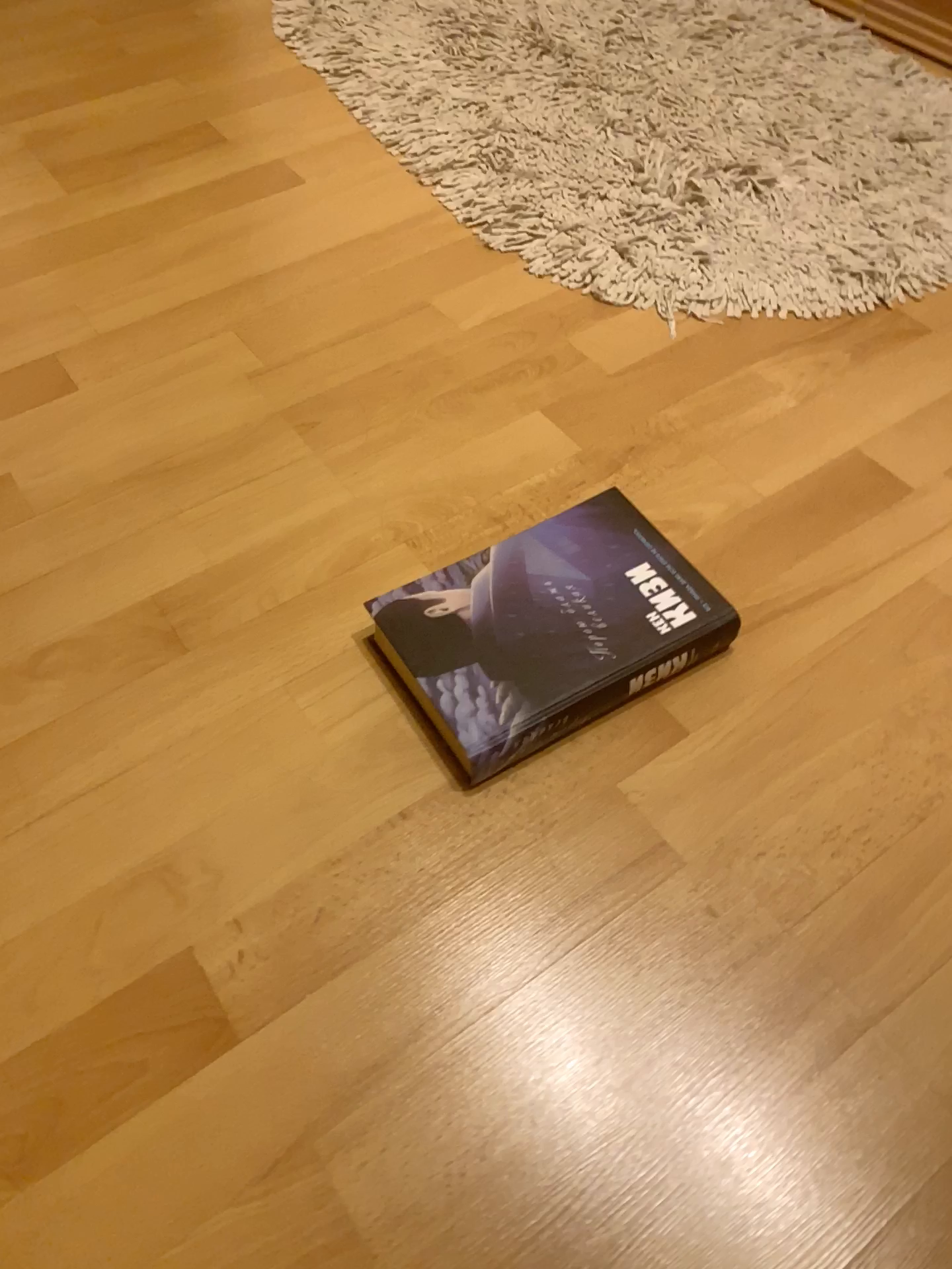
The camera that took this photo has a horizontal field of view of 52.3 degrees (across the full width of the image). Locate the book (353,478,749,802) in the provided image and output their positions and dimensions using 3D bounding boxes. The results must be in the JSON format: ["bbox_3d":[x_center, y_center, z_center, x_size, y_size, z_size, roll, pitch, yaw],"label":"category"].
[{"bbox_3d":[0.050,-0.005,0.679,0.224,0.050,0.151,-26,58,-18],"label":"book"}]
